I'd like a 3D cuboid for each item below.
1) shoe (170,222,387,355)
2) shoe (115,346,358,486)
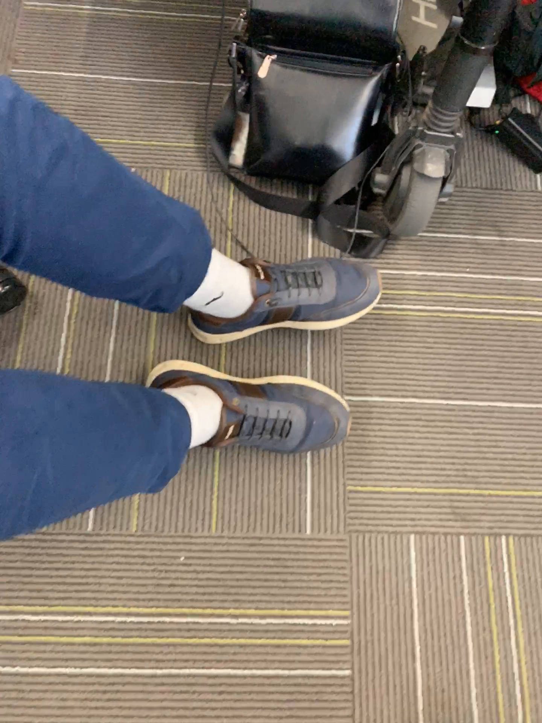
[{"bbox_3d":[0.012,-0.103,0.834,0.300,0.100,0.120,-9,73,8],"label":"shoe"},{"bbox_3d":[-0.049,0.070,0.799,0.320,0.100,0.120,10,101,12],"label":"shoe"}]
